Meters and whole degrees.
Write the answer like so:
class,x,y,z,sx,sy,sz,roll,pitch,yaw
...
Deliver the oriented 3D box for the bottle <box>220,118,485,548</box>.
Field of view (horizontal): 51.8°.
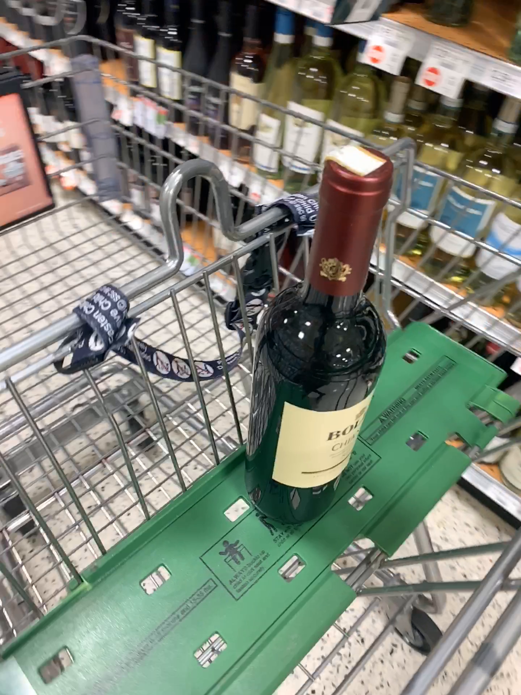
class,x,y,z,sx,sy,sz,roll,pitch,yaw
bottle,0.032,0.016,0.329,0.080,0.267,0.080,2,49,-2
